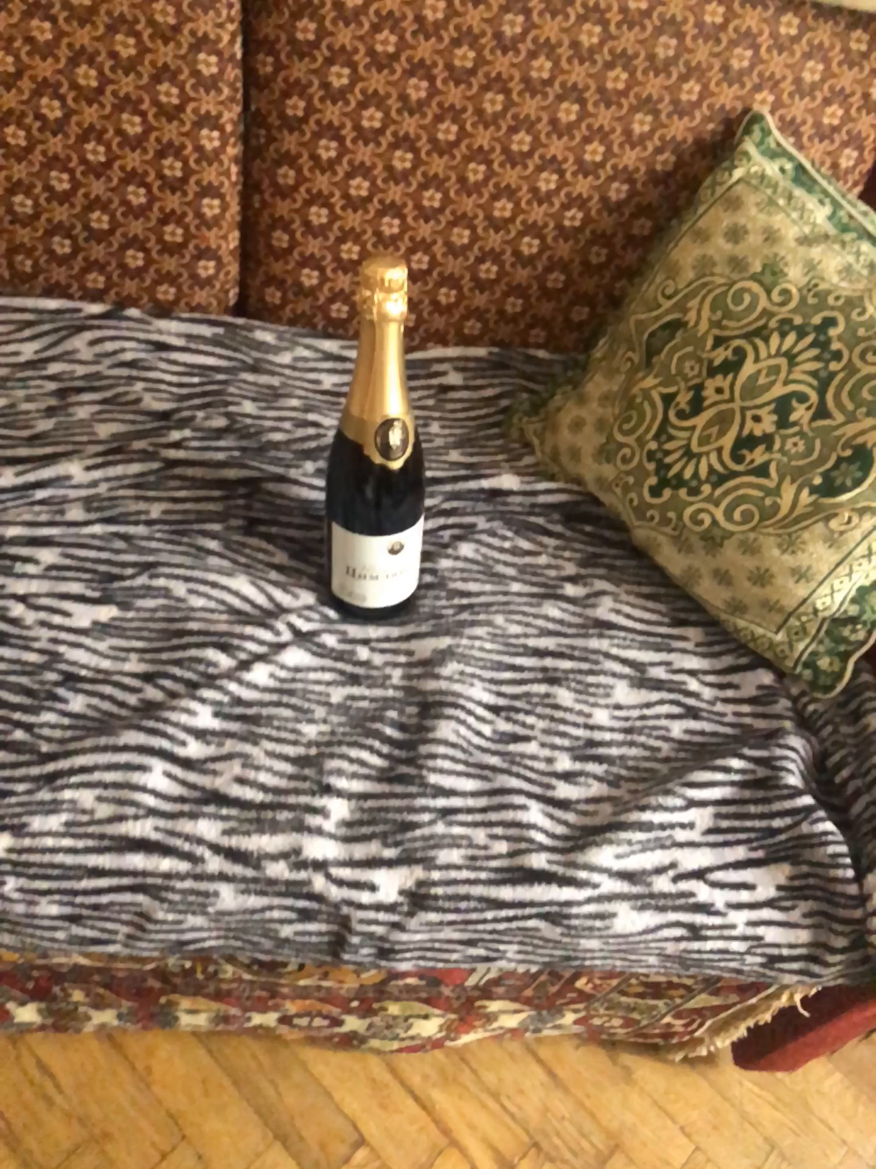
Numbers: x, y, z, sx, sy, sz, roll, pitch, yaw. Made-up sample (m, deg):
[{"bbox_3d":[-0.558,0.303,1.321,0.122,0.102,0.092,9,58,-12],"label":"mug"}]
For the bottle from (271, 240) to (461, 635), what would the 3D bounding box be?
[{"bbox_3d":[-0.056,-0.102,0.738,0.100,0.278,0.100,2,45,-2],"label":"bottle"}]
